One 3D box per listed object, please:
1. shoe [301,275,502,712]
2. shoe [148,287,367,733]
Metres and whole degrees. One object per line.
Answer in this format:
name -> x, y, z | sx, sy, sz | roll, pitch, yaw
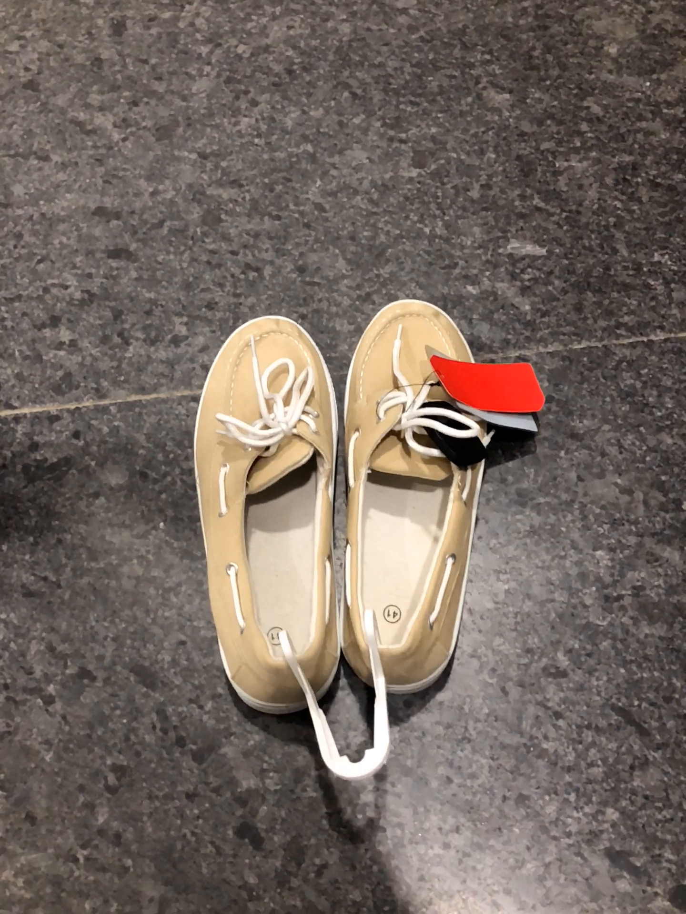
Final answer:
shoe -> 0.040, 0.019, 0.466 | 0.096, 0.106, 0.243 | 3, 63, 4
shoe -> -0.048, 0.029, 0.461 | 0.103, 0.106, 0.243 | -5, 62, 0
